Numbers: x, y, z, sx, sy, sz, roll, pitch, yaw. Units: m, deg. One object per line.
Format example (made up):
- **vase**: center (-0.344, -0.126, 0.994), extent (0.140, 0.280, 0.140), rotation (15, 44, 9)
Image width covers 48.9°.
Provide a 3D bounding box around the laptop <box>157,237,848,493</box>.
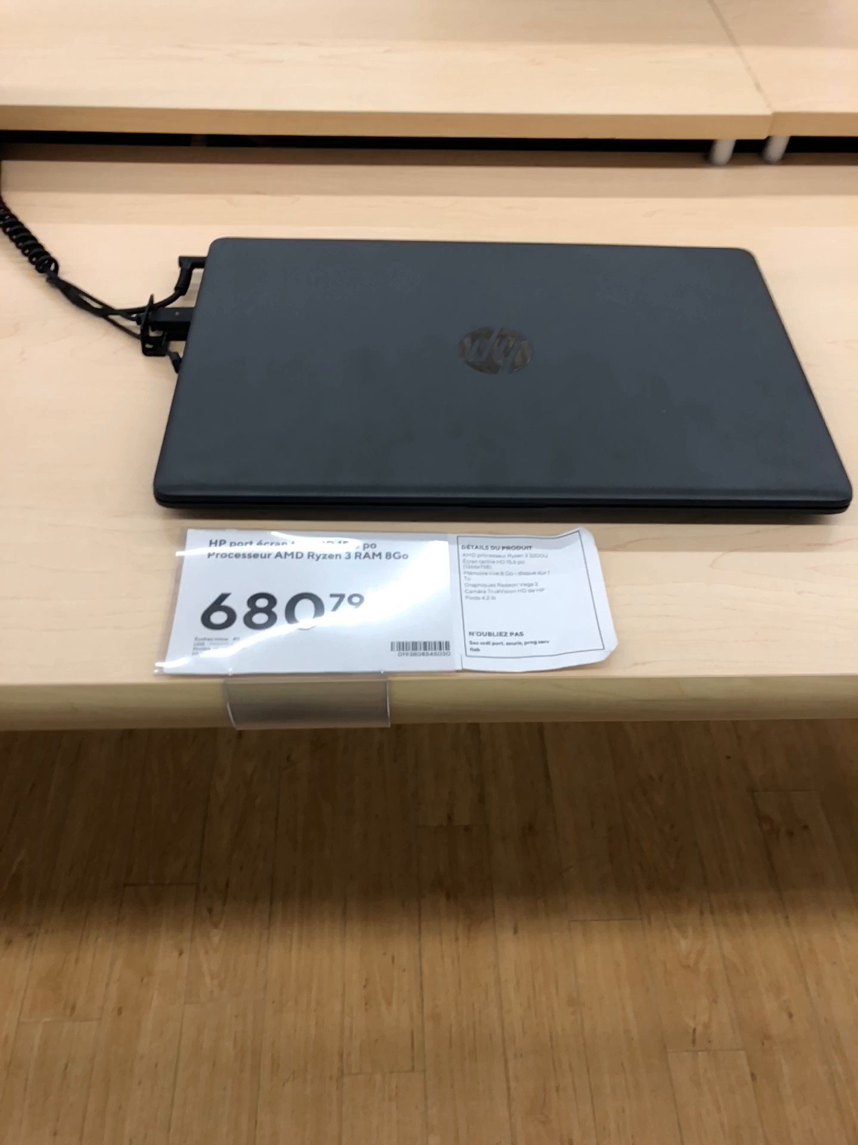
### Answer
- **laptop**: center (0.041, -0.139, 0.588), extent (0.373, 0.005, 0.245), rotation (0, 49, -3)
